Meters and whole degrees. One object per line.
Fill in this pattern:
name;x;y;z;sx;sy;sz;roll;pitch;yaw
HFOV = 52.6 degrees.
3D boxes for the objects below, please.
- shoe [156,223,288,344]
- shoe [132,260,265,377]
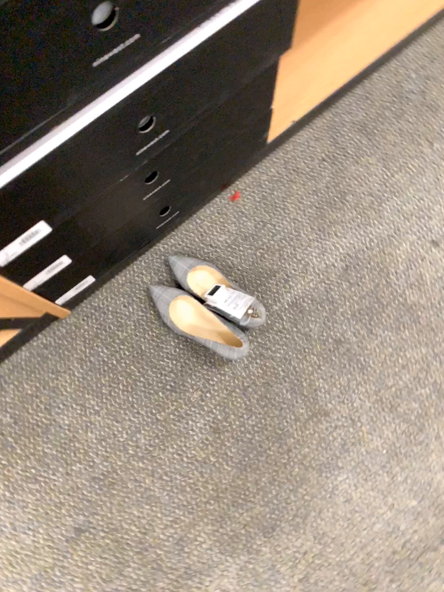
shoe;-0.002;-0.017;0.882;0.230;0.150;0.090;36;80;6
shoe;-0.044;0.051;0.876;0.230;0.150;0.090;36;80;6
